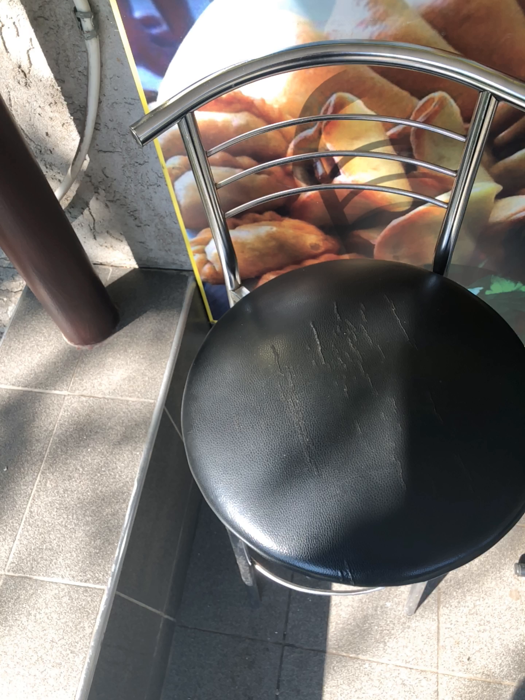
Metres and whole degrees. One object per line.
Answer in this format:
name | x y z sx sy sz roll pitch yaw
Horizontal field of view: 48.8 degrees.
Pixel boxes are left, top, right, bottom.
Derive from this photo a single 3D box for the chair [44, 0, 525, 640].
chair | 0.130 0.134 0.986 0.510 1.098 0.501 -8 58 1
